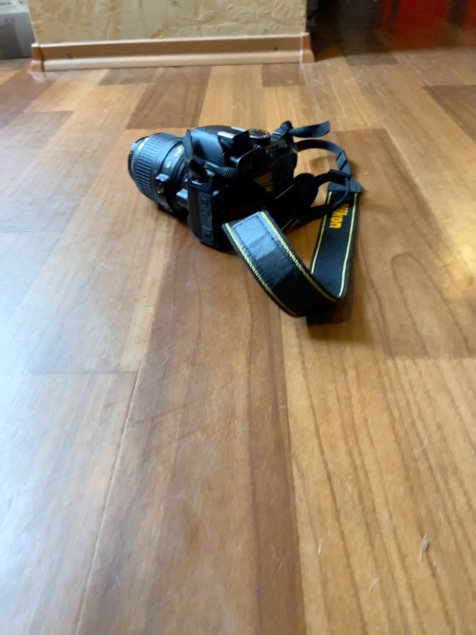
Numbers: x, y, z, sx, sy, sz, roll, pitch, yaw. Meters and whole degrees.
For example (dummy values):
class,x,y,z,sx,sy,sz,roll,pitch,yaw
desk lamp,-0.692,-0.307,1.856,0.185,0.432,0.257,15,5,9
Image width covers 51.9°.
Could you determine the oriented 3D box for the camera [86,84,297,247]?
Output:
class,x,y,z,sx,sy,sz,roll,pitch,yaw
camera,-0.043,-0.160,0.489,0.162,0.090,0.121,27,48,32
